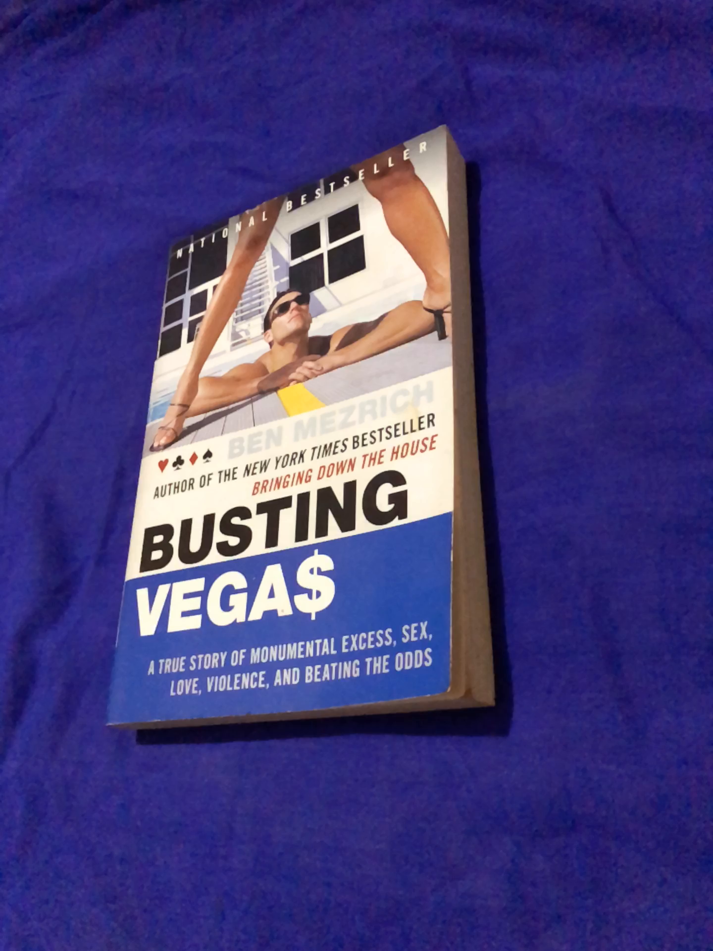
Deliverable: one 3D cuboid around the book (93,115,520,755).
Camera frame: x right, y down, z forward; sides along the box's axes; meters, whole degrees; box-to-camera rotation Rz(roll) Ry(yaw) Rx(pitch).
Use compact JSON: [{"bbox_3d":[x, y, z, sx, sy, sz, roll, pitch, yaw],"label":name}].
[{"bbox_3d":[-0.017,-0.014,0.287,0.130,0.040,0.210,-13,61,29],"label":"book"}]
